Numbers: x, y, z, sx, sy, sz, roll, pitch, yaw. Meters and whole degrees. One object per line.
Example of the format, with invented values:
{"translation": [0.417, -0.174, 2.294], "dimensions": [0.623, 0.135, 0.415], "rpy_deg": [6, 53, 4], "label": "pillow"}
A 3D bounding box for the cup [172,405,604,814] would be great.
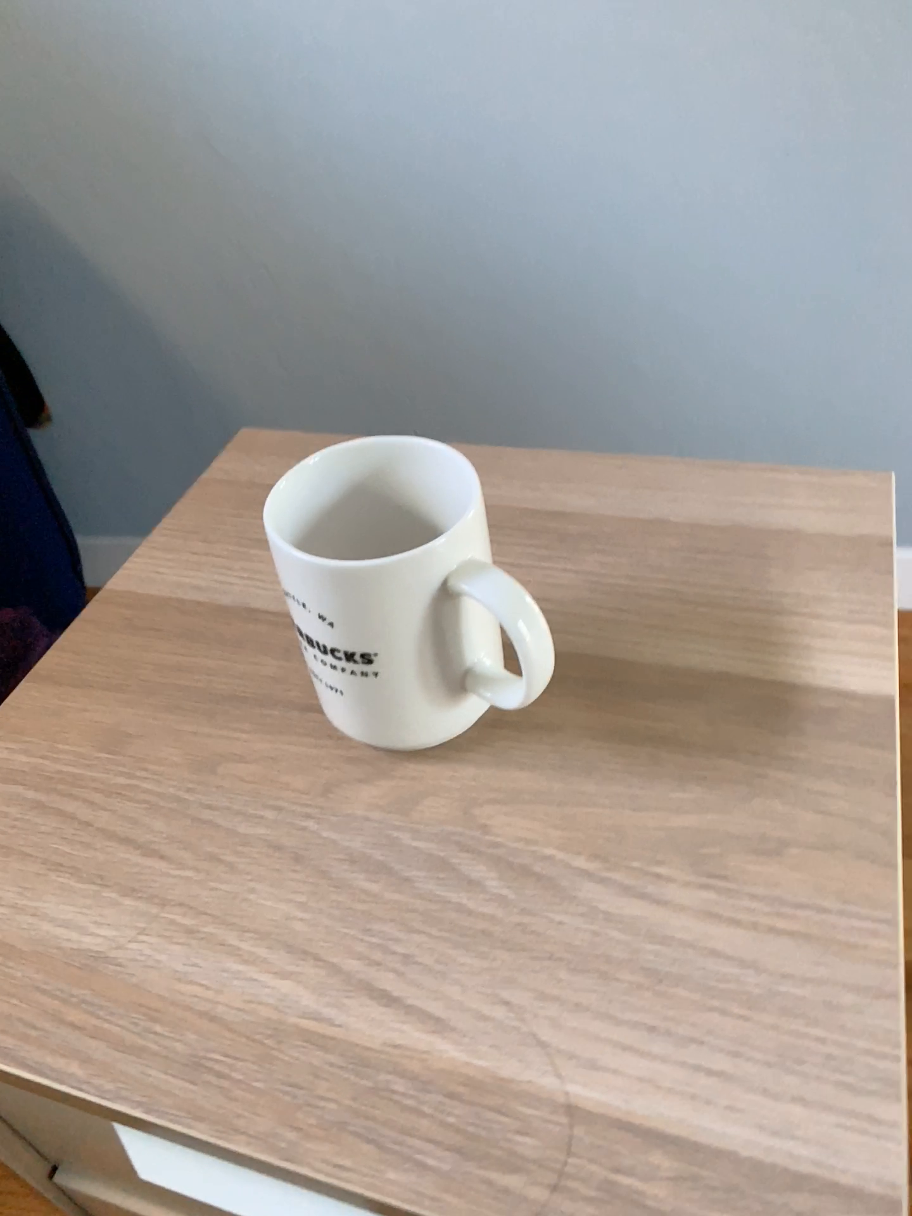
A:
{"translation": [-0.024, -0.007, 0.377], "dimensions": [0.131, 0.080, 0.100], "rpy_deg": [28, 53, 35], "label": "cup"}
